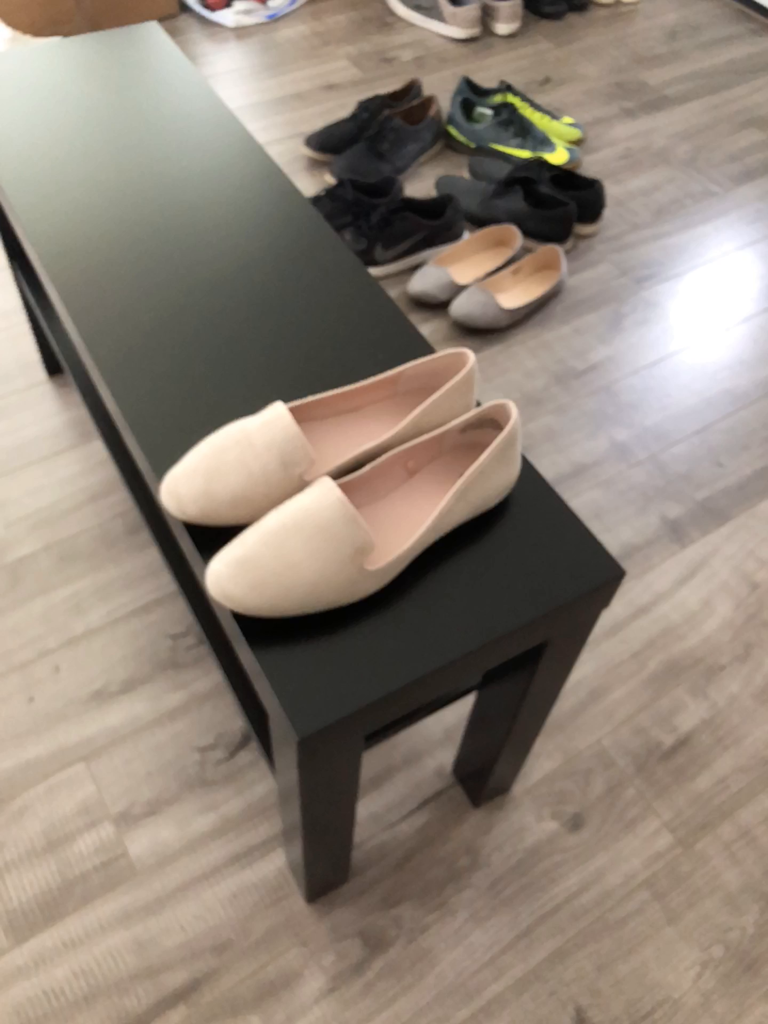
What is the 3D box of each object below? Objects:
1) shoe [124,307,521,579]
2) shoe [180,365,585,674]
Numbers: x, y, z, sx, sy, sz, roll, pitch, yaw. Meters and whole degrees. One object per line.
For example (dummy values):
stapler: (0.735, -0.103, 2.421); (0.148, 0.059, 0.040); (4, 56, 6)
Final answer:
shoe: (-0.039, -0.056, 0.614); (0.259, 0.070, 0.090); (-23, 58, -20)
shoe: (0.004, -0.002, 0.572); (0.259, 0.070, 0.080); (-27, 60, -23)
